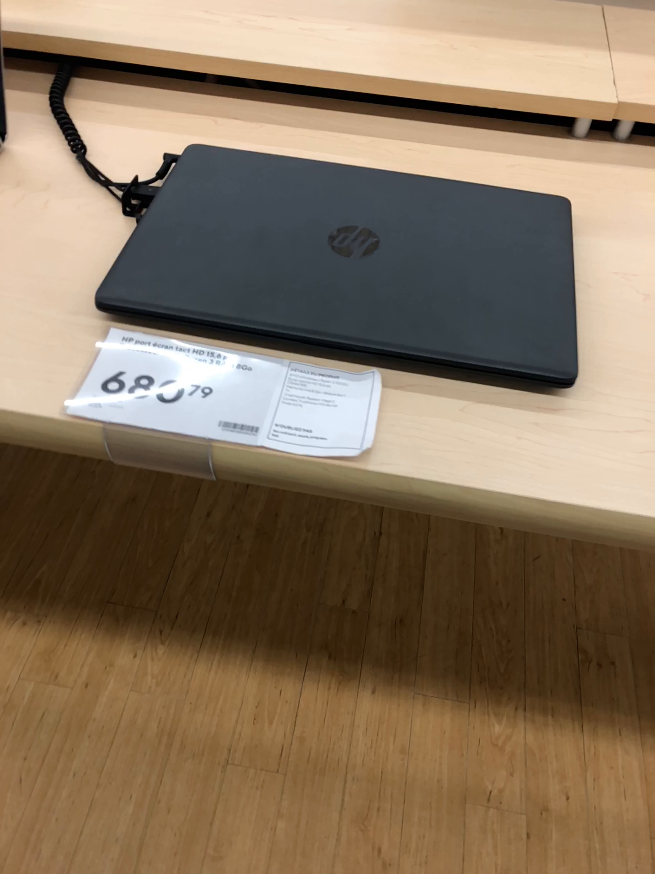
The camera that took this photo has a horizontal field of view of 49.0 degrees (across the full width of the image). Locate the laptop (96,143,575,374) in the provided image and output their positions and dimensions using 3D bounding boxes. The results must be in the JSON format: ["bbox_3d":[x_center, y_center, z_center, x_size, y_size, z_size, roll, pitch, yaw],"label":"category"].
[{"bbox_3d":[0.025,-0.171,0.632,0.373,0.005,0.245,10,50,5],"label":"laptop"}]
